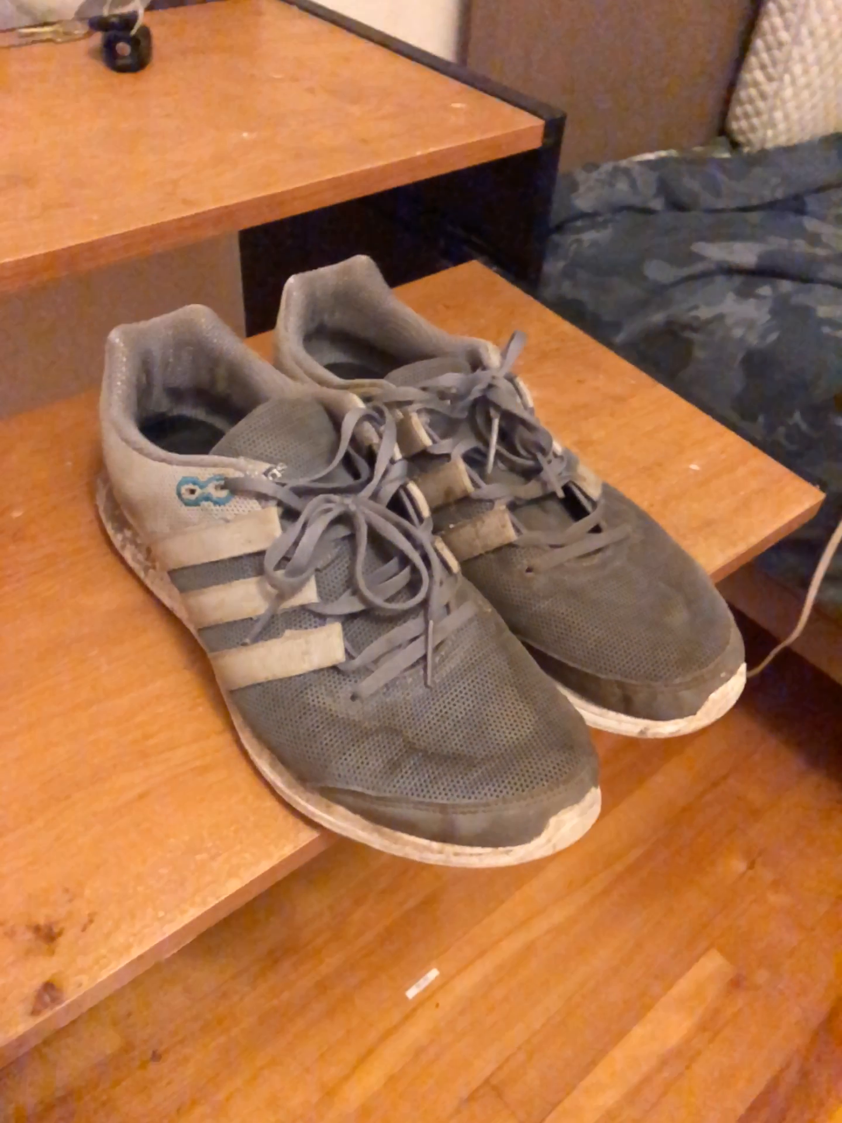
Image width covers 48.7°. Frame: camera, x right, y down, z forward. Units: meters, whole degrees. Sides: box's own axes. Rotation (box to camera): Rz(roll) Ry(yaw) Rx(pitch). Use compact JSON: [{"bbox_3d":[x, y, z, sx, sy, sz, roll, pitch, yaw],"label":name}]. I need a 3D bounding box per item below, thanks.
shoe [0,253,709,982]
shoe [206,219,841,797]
[{"bbox_3d":[-0.057,-0.007,0.362,0.110,0.089,0.301,-31,55,-32],"label":"shoe"},{"bbox_3d":[0.035,-0.045,0.414,0.120,0.089,0.271,-30,54,-31],"label":"shoe"}]
